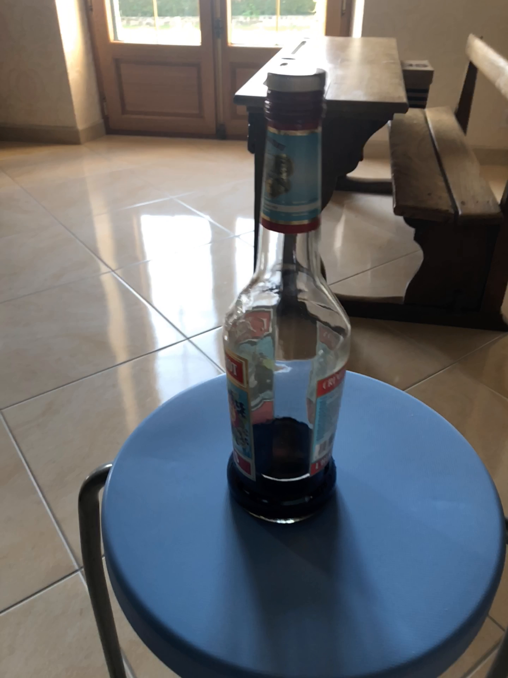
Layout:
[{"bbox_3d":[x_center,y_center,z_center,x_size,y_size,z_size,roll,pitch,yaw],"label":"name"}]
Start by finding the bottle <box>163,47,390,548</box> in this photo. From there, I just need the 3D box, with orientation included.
[{"bbox_3d":[0.016,-0.010,0.354,0.090,0.298,0.091,0,34,0],"label":"bottle"}]
